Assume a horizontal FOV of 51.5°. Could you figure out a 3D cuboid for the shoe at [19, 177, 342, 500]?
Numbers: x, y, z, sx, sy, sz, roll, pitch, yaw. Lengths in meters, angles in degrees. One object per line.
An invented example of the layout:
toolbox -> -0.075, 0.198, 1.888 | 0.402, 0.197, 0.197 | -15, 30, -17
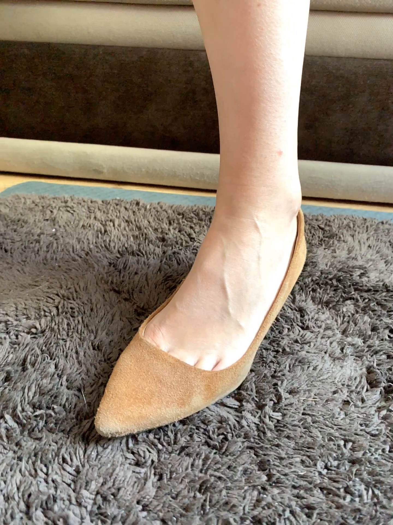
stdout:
shoe -> 0.013, 0.024, 0.305 | 0.090, 0.080, 0.251 | 23, 40, 28
